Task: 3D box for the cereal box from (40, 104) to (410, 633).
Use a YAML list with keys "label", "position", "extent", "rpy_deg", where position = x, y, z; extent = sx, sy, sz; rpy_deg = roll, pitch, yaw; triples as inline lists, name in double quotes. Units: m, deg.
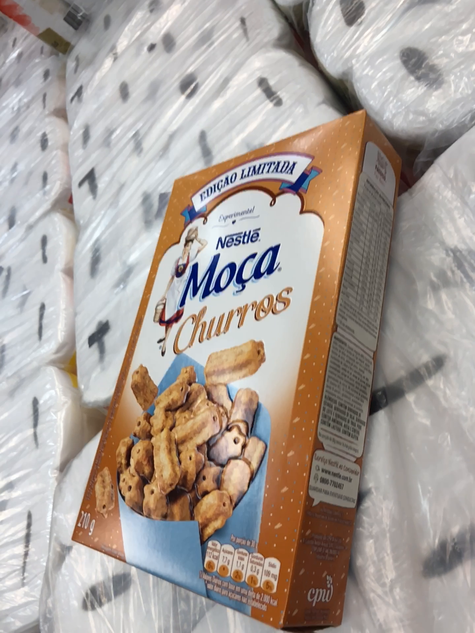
- label: "cereal box"
  position: [-0.008, 0.019, 0.298]
  extent: [0.171, 0.050, 0.240]
  rpy_deg: [-5, 64, 42]
